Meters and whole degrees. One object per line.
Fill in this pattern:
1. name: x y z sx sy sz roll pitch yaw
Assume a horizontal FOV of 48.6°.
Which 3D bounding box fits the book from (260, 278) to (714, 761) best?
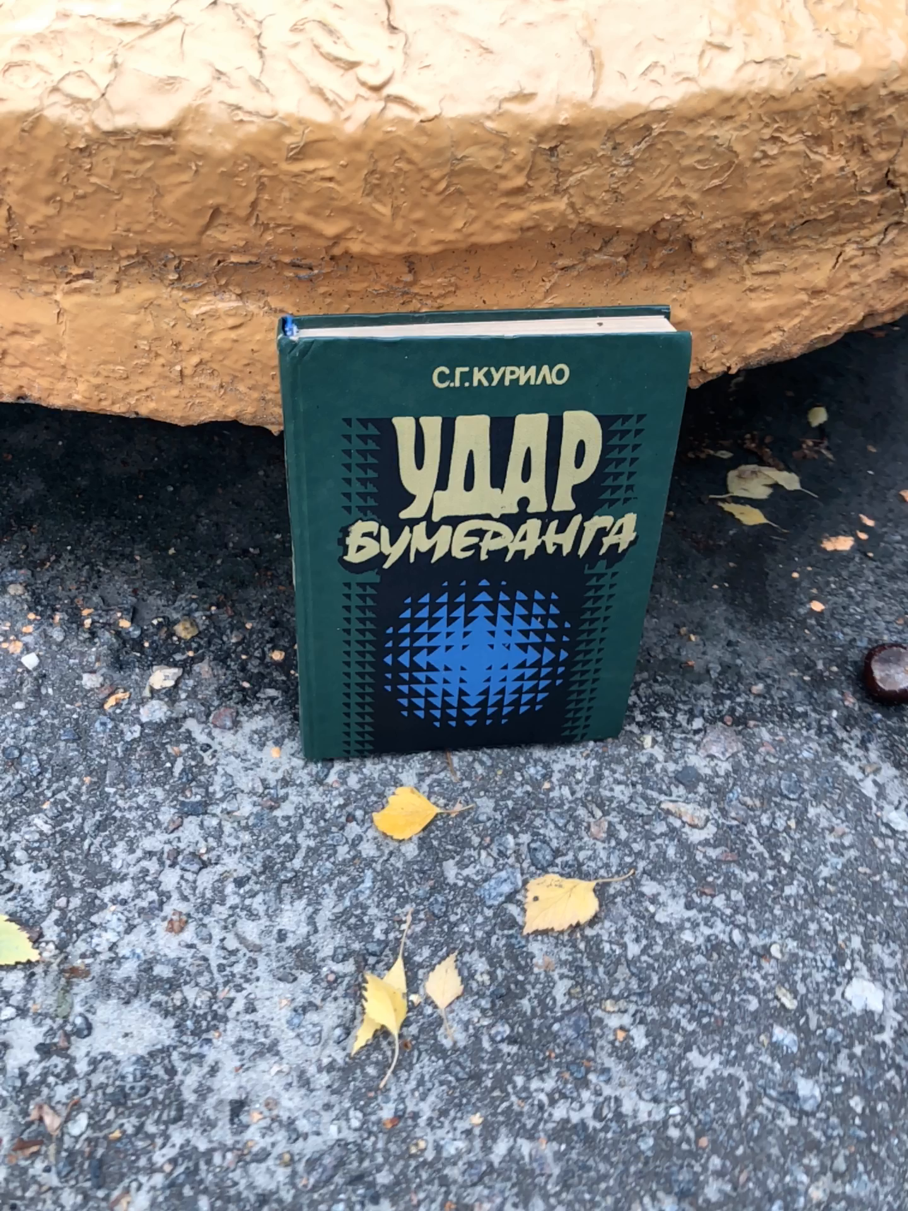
1. book: 0.011 -0.020 0.356 0.131 0.178 0.029 -4 40 -3
